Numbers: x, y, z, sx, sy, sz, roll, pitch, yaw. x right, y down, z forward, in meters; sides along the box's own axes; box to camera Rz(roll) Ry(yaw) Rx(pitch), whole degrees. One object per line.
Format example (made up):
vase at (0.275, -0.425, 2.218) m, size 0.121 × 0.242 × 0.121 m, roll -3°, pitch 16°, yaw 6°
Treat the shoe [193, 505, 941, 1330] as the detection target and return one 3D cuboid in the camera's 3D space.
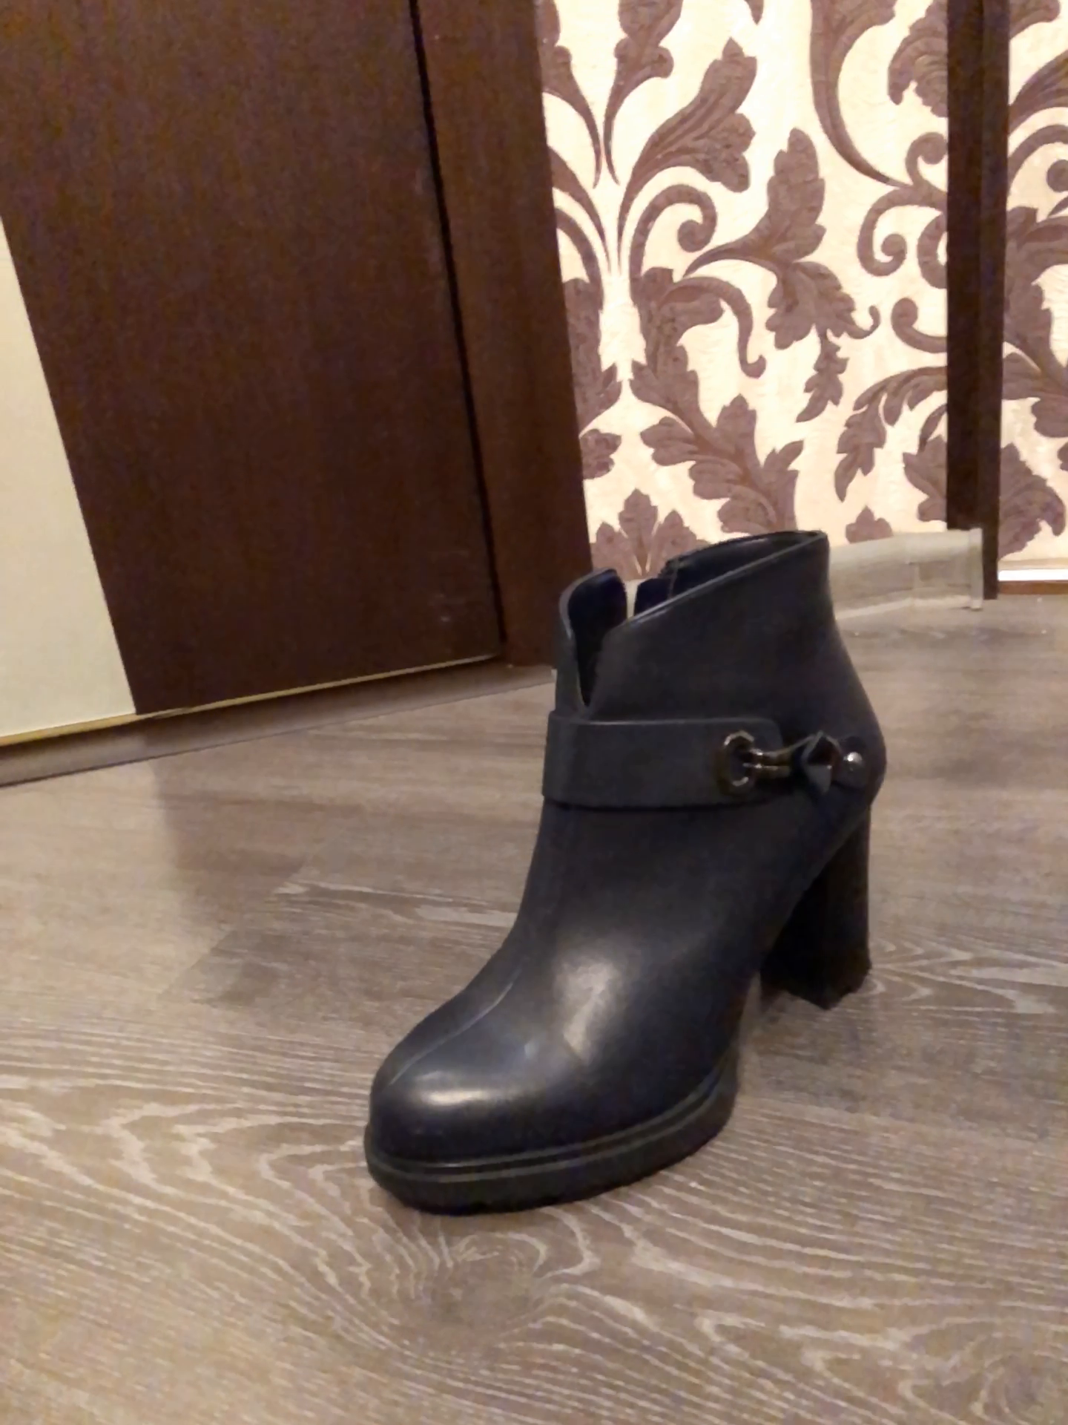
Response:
shoe at (0.028, 0.050, 0.424) m, size 0.231 × 0.189 × 0.110 m, roll -22°, pitch 25°, yaw -31°
